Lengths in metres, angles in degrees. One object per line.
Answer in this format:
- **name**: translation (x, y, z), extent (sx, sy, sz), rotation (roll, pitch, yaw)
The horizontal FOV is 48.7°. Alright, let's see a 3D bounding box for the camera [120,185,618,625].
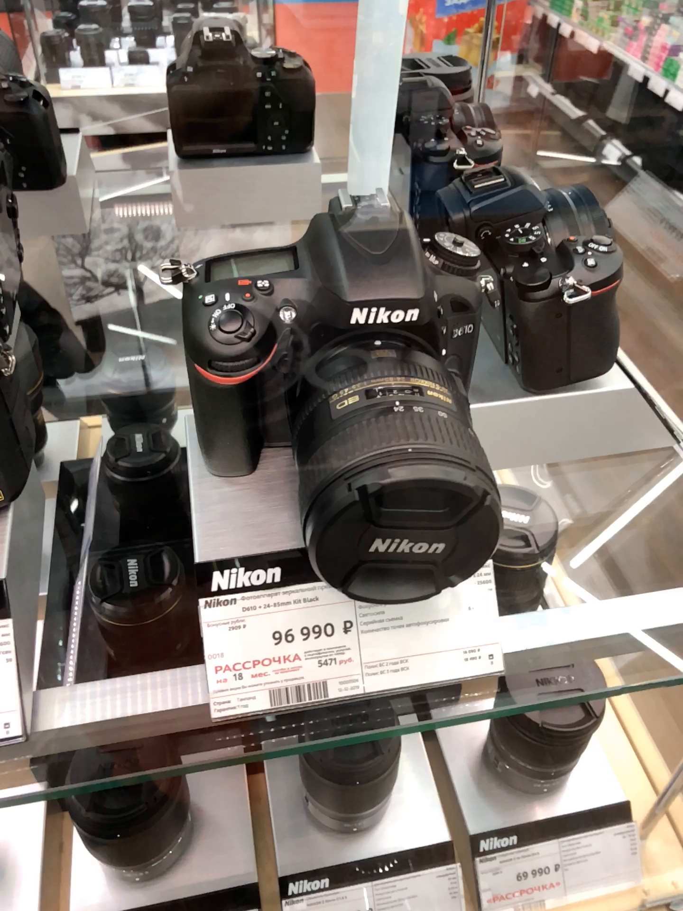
- **camera**: translation (0.003, -0.028, 0.315), extent (0.148, 0.109, 0.151), rotation (-2, 41, -4)
